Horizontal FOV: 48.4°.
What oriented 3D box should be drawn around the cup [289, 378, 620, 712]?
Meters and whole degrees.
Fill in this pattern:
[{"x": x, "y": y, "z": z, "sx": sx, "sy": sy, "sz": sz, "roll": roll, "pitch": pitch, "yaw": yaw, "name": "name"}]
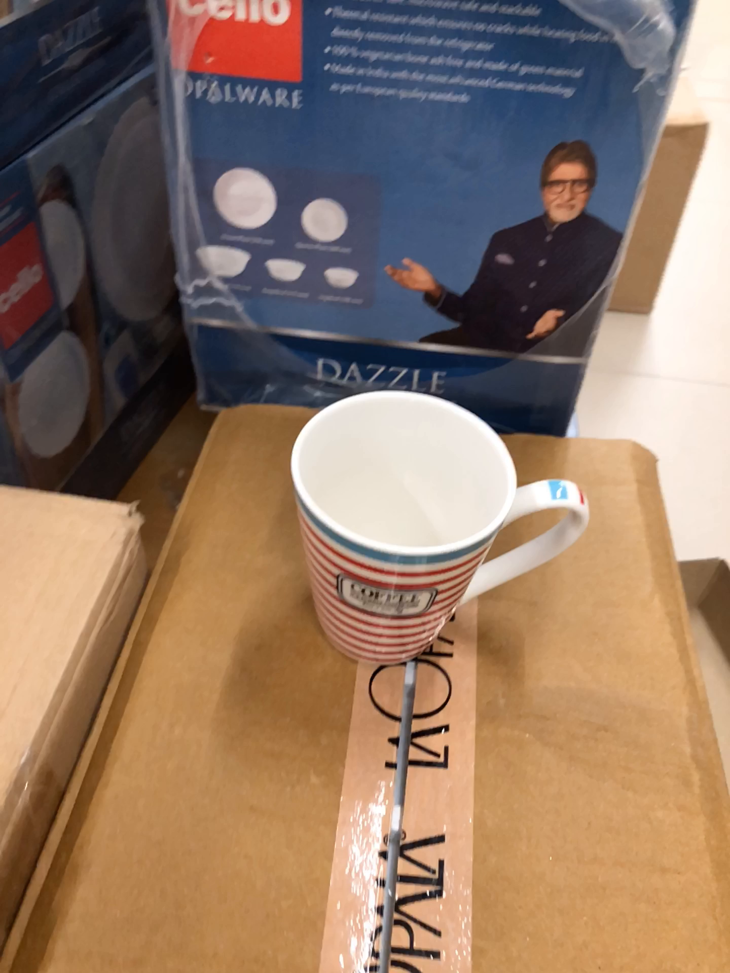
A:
[{"x": 0.025, "y": 0.023, "z": 0.335, "sx": 0.110, "sy": 0.099, "sz": 0.091, "roll": -1, "pitch": 43, "yaw": -5, "name": "cup"}]
